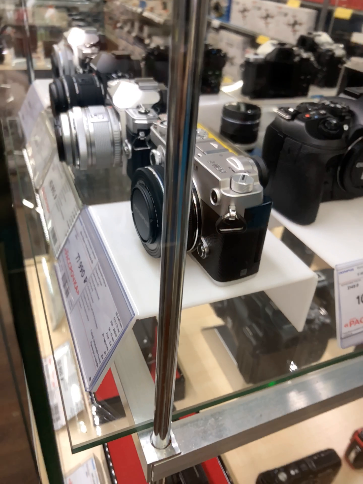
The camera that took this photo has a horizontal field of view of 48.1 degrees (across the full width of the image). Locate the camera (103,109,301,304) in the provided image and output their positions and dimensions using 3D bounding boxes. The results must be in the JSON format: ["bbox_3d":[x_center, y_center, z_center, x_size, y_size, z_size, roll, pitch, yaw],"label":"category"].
[{"bbox_3d":[0.002,-0.034,0.275,0.076,0.070,0.128,-10,37,-22],"label":"camera"}]

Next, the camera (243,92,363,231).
[{"bbox_3d":[0.132,-0.072,0.334,0.127,0.075,0.084,-10,37,-22],"label":"camera"}]

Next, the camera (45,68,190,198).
[{"bbox_3d":[-0.065,-0.109,0.381,0.099,0.075,0.128,-9,36,-20],"label":"camera"}]
